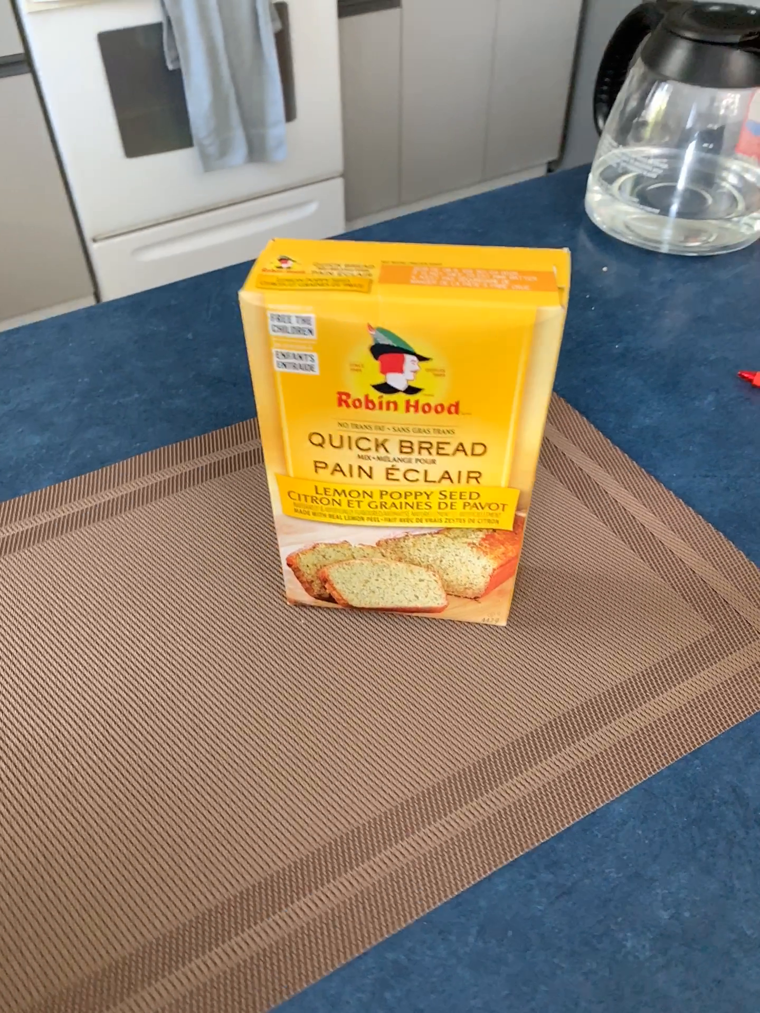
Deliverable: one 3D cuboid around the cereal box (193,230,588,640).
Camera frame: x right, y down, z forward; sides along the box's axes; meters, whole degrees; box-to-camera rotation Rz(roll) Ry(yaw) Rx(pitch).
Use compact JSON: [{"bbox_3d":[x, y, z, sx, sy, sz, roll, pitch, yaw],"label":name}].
[{"bbox_3d":[0.005,-0.019,0.332,0.130,0.178,0.040,5,45,6],"label":"cereal box"}]
